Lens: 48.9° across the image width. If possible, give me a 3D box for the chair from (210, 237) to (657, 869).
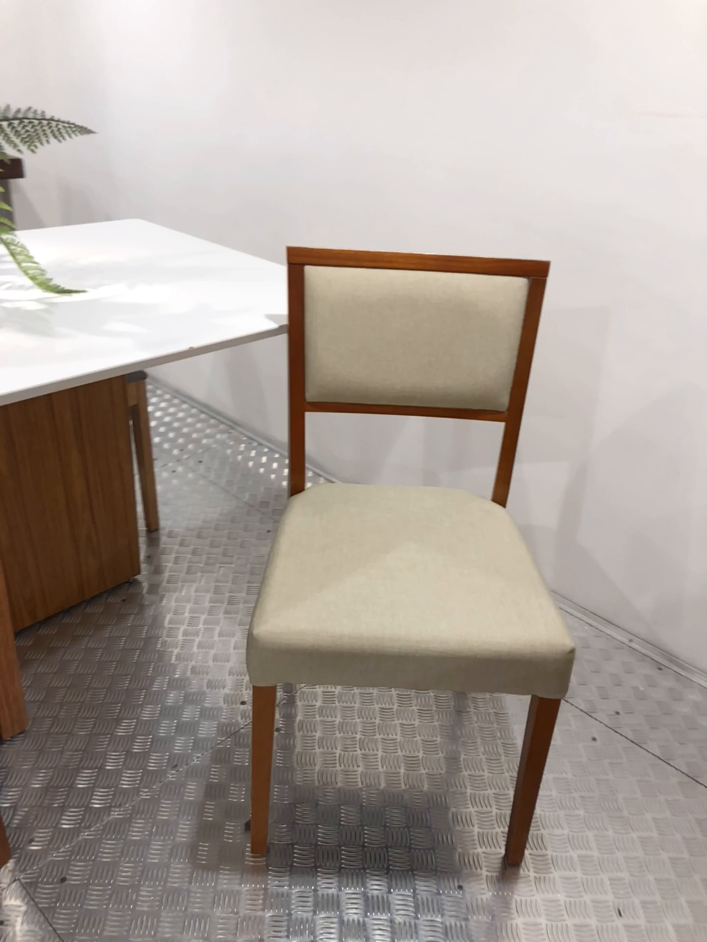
[{"bbox_3d":[0.068,0.122,1.381,0.520,0.893,0.625,3,28,-2],"label":"chair"}]
